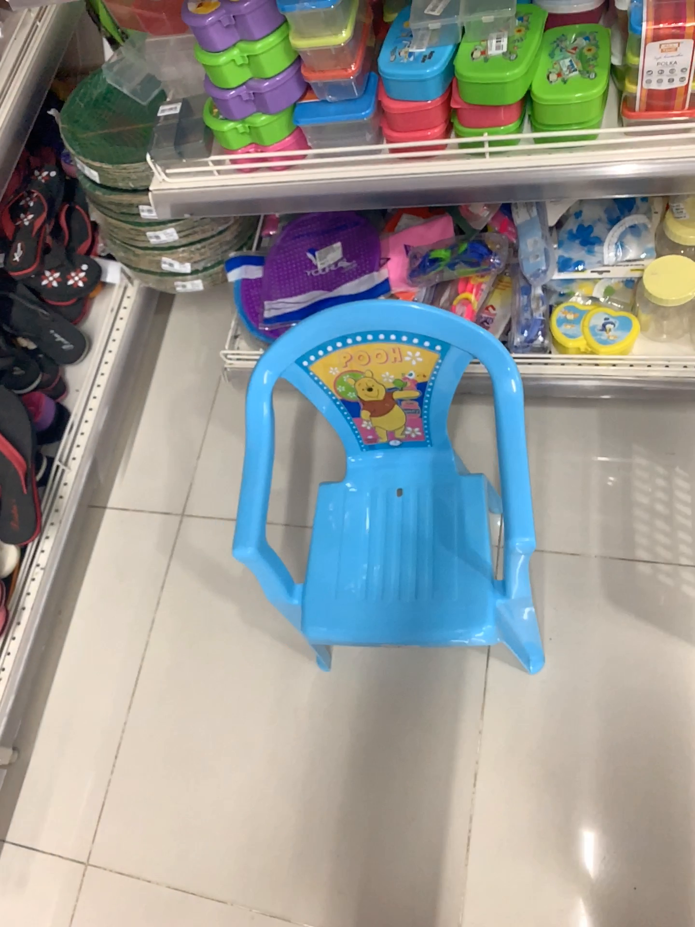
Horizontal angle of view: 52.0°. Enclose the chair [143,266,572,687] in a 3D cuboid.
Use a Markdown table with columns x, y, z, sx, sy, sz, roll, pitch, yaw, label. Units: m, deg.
| x | y | z | sx | sy | sz | roll | pitch | yaw | label |
| --- | --- | --- | --- | --- | --- | --- | --- | --- | --- |
| 0.065 | 0.076 | 0.922 | 0.391 | 0.509 | 0.350 | -5 | 66 | 15 | chair |
